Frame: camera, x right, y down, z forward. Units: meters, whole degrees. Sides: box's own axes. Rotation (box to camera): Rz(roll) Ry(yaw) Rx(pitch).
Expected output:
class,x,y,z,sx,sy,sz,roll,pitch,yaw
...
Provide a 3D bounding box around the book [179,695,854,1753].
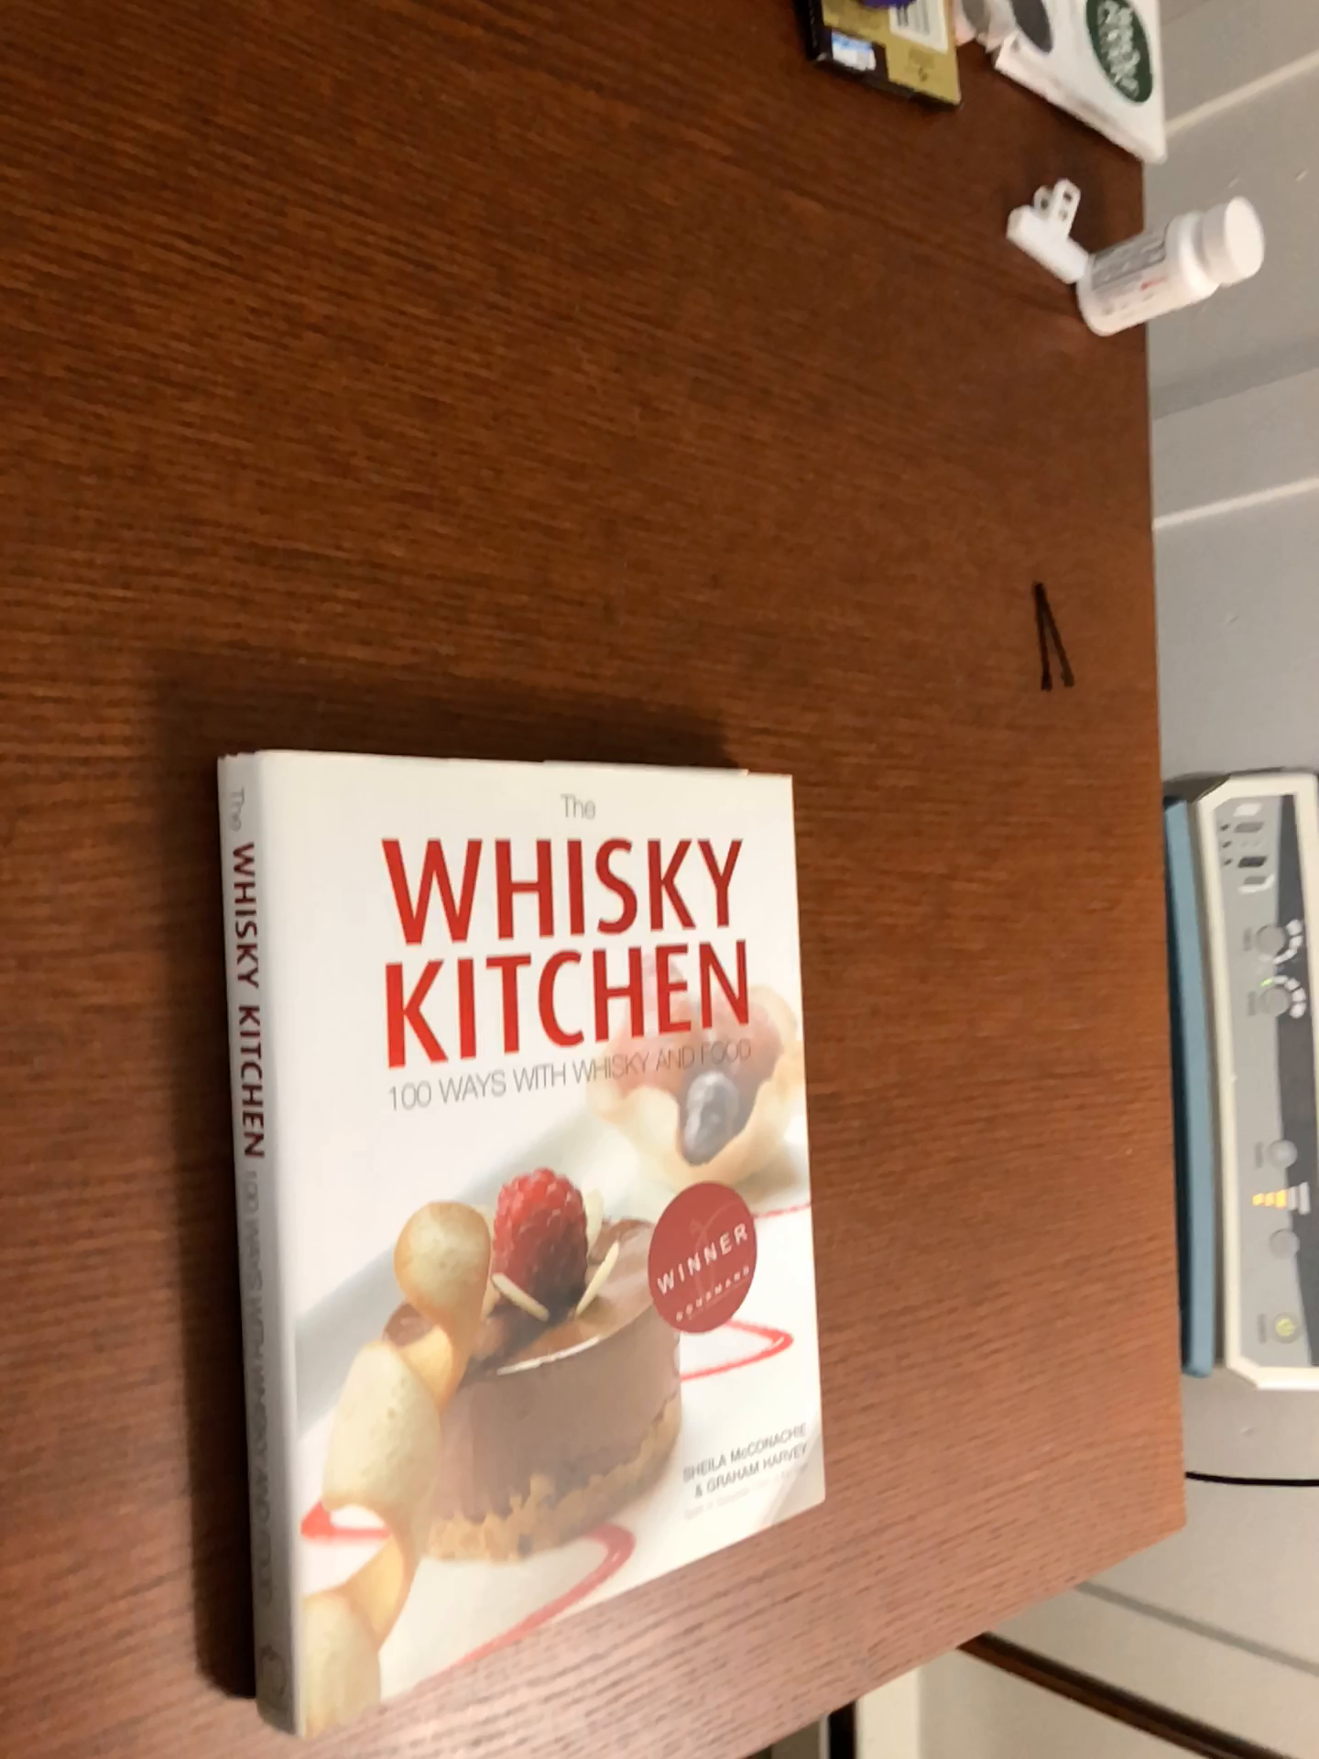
class,x,y,z,sx,sy,sz,roll,pitch,yaw
book,-0.032,0.086,0.460,0.221,0.040,0.270,-1,88,-42
